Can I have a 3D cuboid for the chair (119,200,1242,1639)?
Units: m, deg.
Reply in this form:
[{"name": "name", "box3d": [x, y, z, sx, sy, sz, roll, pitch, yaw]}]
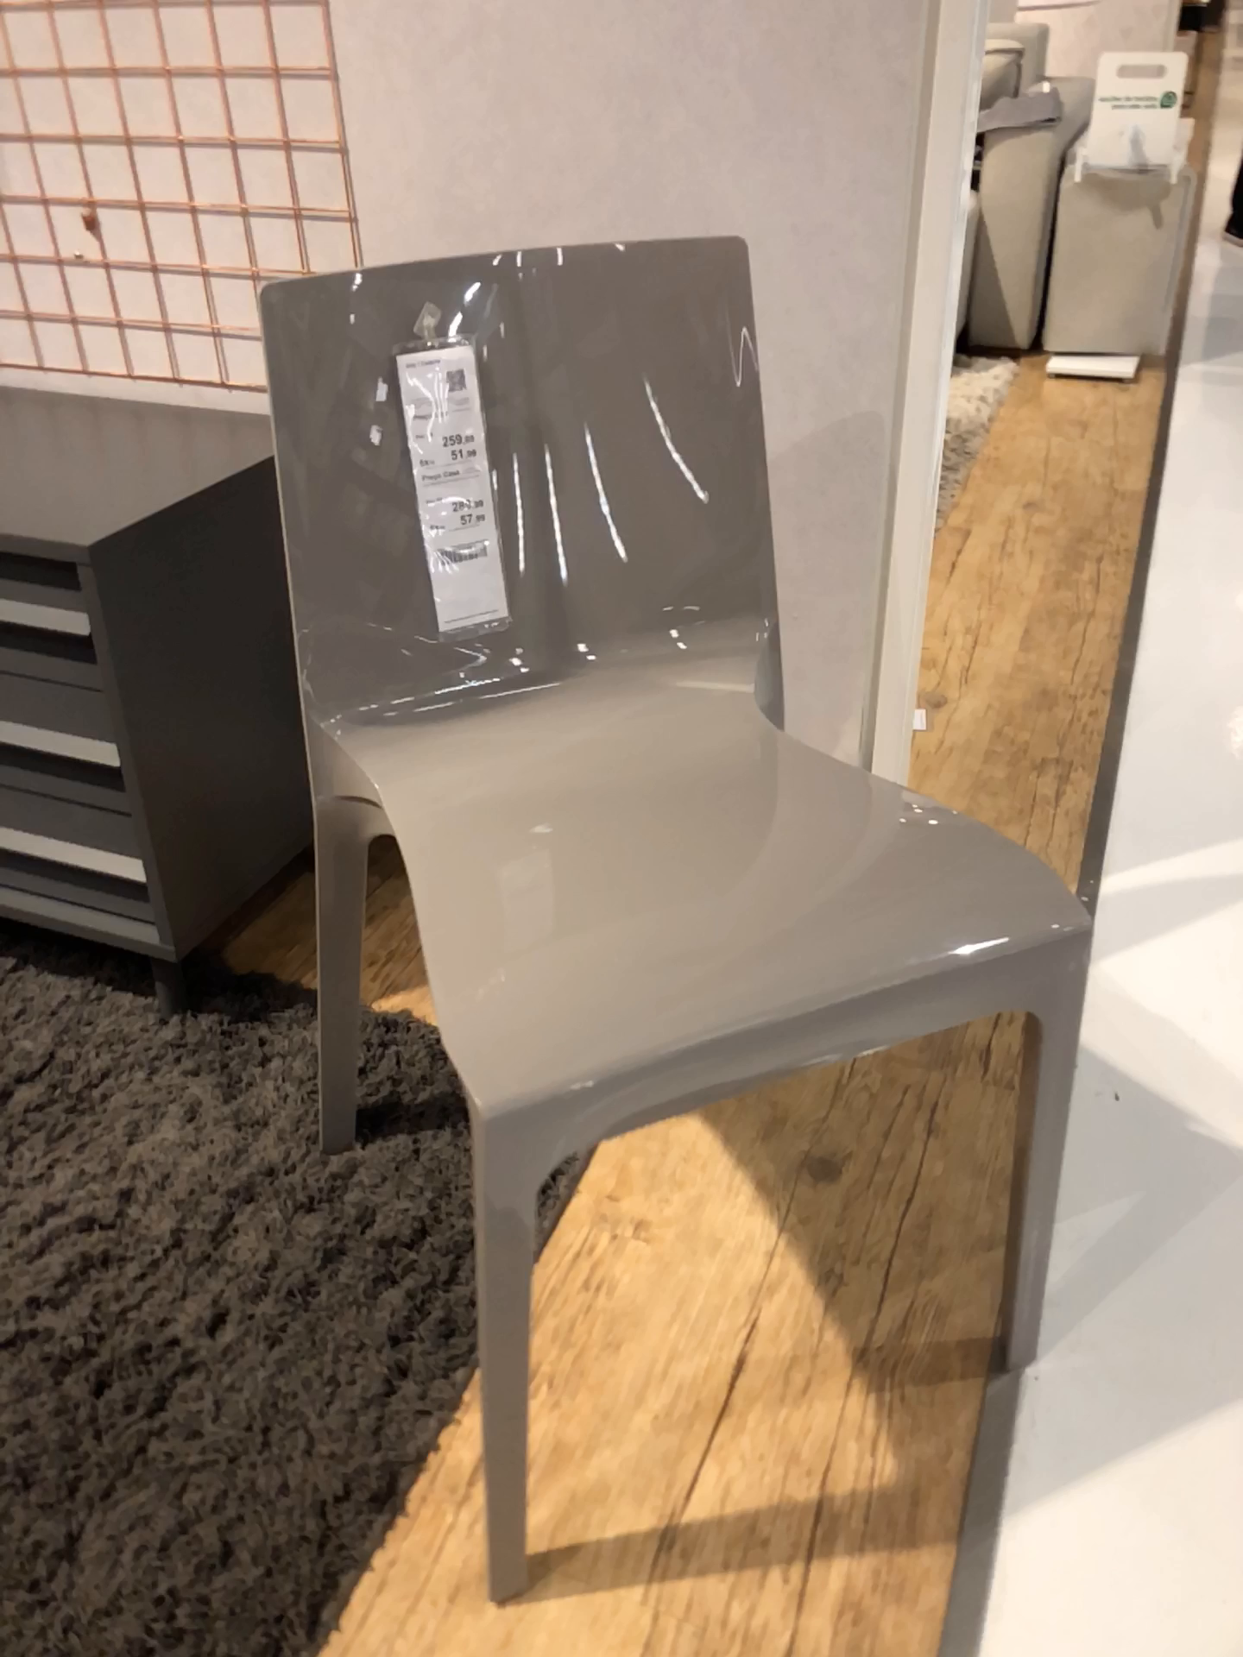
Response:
[{"name": "chair", "box3d": [0.011, 0.018, 0.989, 0.520, 0.754, 0.564, -13, 35, -16]}]
